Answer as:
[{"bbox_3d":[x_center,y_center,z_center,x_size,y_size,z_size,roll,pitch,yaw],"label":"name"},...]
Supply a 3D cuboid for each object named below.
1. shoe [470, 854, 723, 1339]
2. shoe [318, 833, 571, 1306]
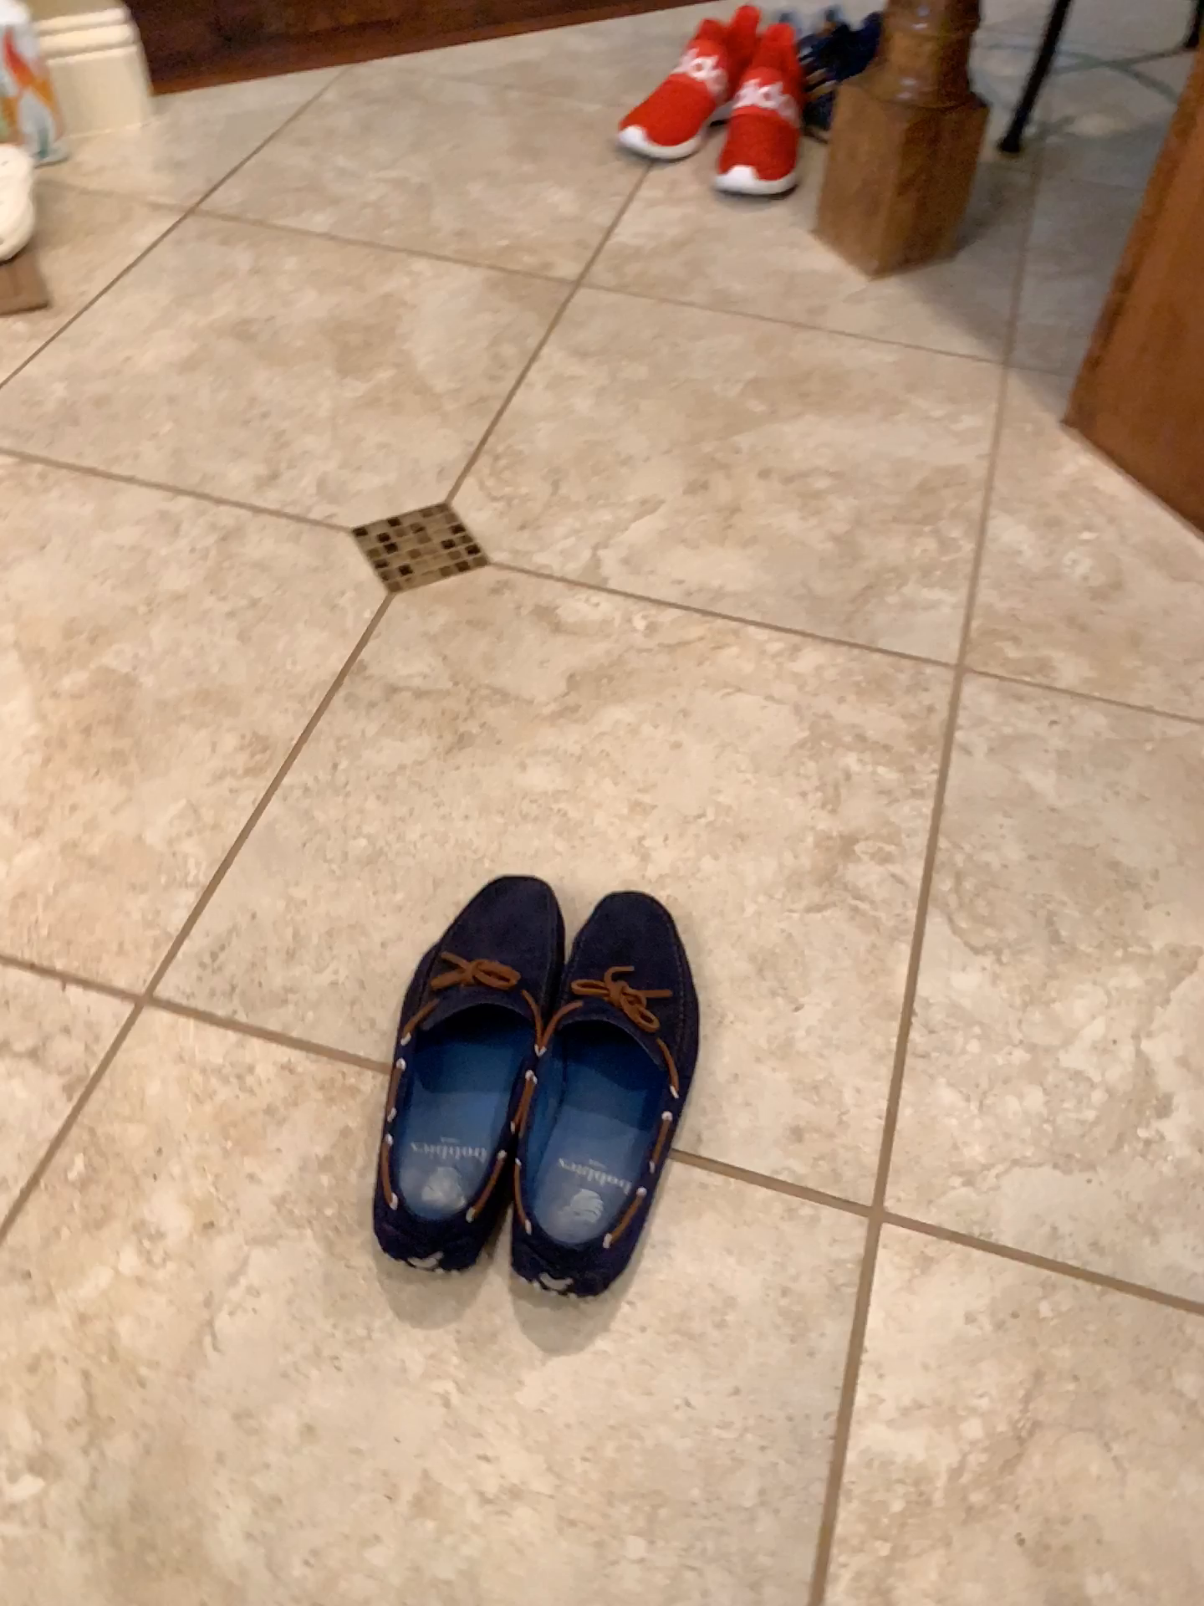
[{"bbox_3d":[0.004,0.173,0.783,0.098,0.074,0.282,11,51,6],"label":"shoe"},{"bbox_3d":[-0.089,0.158,0.788,0.098,0.074,0.282,7,50,3],"label":"shoe"}]
